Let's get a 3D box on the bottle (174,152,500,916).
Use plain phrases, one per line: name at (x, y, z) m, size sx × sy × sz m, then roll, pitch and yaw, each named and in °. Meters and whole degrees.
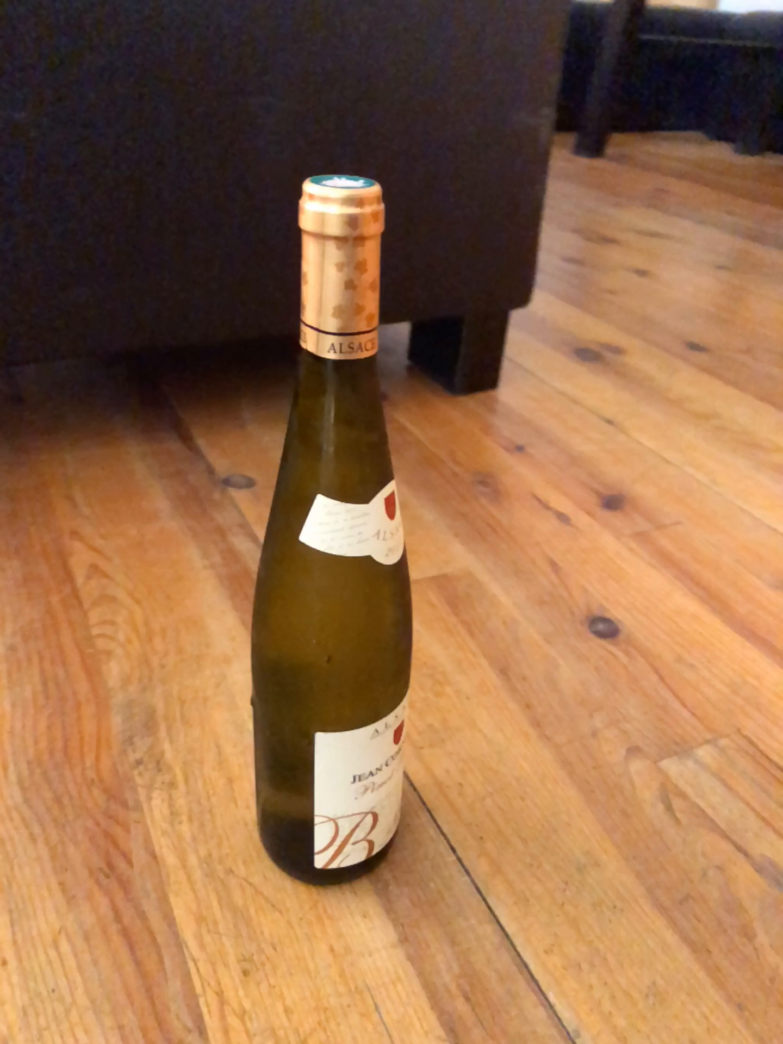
bottle at (-0.024, 0.020, 0.374) m, size 0.080 × 0.318 × 0.081 m, roll 3°, pitch 31°, yaw -2°
